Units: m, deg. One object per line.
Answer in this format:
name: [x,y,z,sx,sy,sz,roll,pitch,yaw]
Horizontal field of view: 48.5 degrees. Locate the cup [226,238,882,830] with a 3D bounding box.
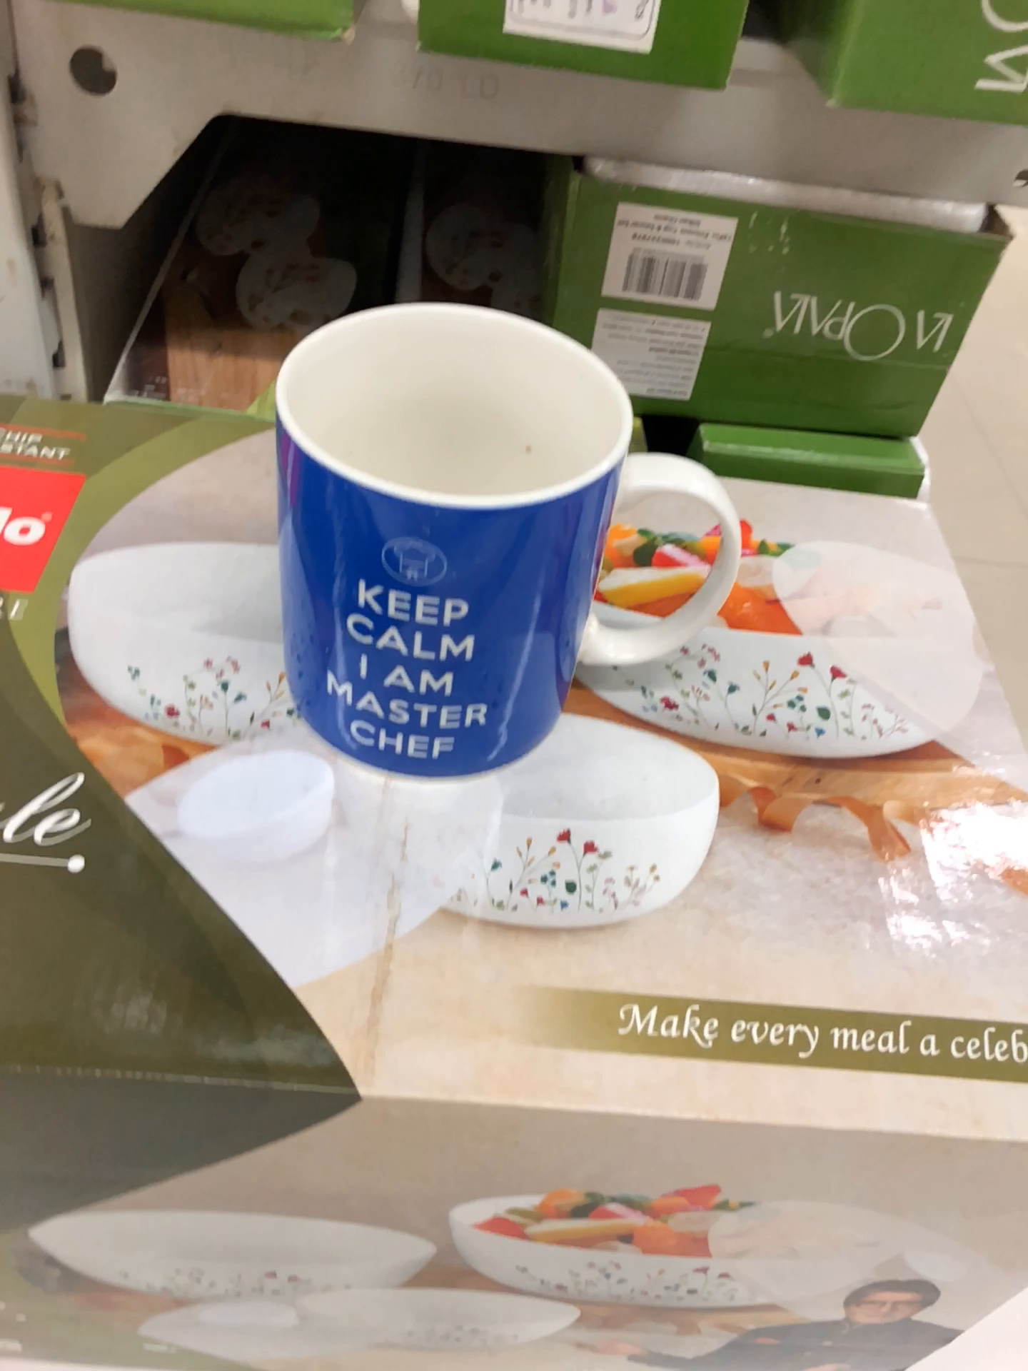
cup: [0.004,-0.041,0.314,0.140,0.099,0.111,6,45,-5]
